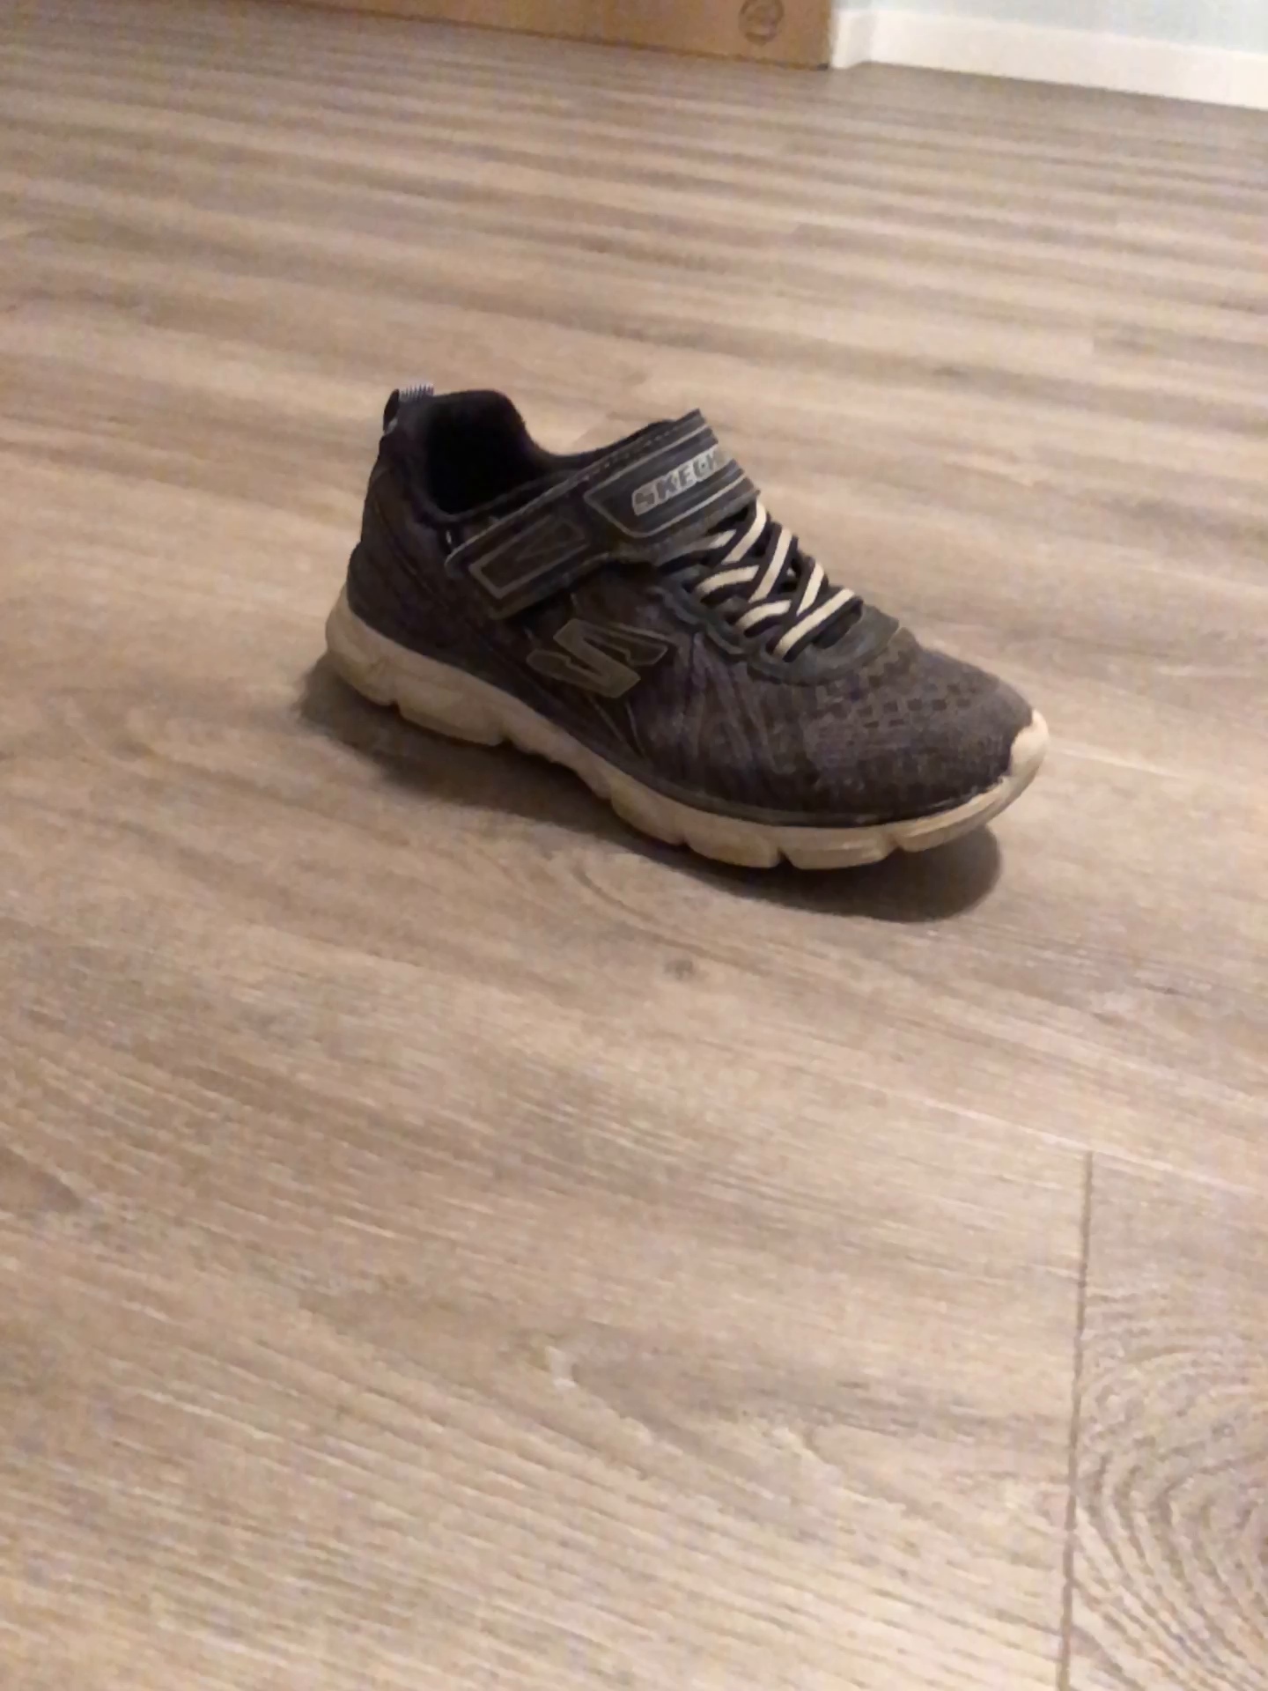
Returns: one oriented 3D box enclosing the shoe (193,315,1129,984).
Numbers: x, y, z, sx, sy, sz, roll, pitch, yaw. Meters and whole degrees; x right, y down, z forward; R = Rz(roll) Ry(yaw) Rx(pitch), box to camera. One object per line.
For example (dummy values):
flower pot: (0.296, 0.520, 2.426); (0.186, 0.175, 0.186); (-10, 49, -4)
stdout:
shoe: (0.000, -0.069, 0.400); (0.230, 0.099, 0.100); (22, 36, 23)
